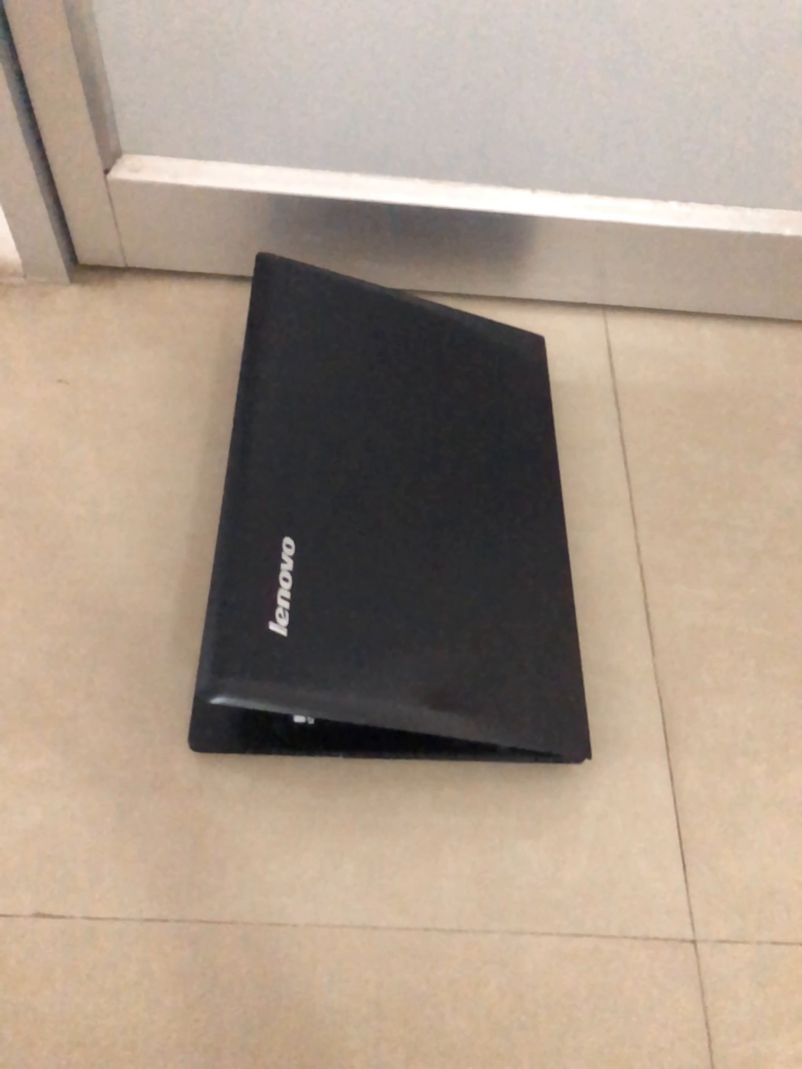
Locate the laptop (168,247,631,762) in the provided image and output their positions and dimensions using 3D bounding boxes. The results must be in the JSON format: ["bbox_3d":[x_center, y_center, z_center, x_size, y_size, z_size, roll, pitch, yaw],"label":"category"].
[{"bbox_3d":[-0.001,-0.035,0.630,0.257,0.097,0.368,2,57,-5],"label":"laptop"}]
